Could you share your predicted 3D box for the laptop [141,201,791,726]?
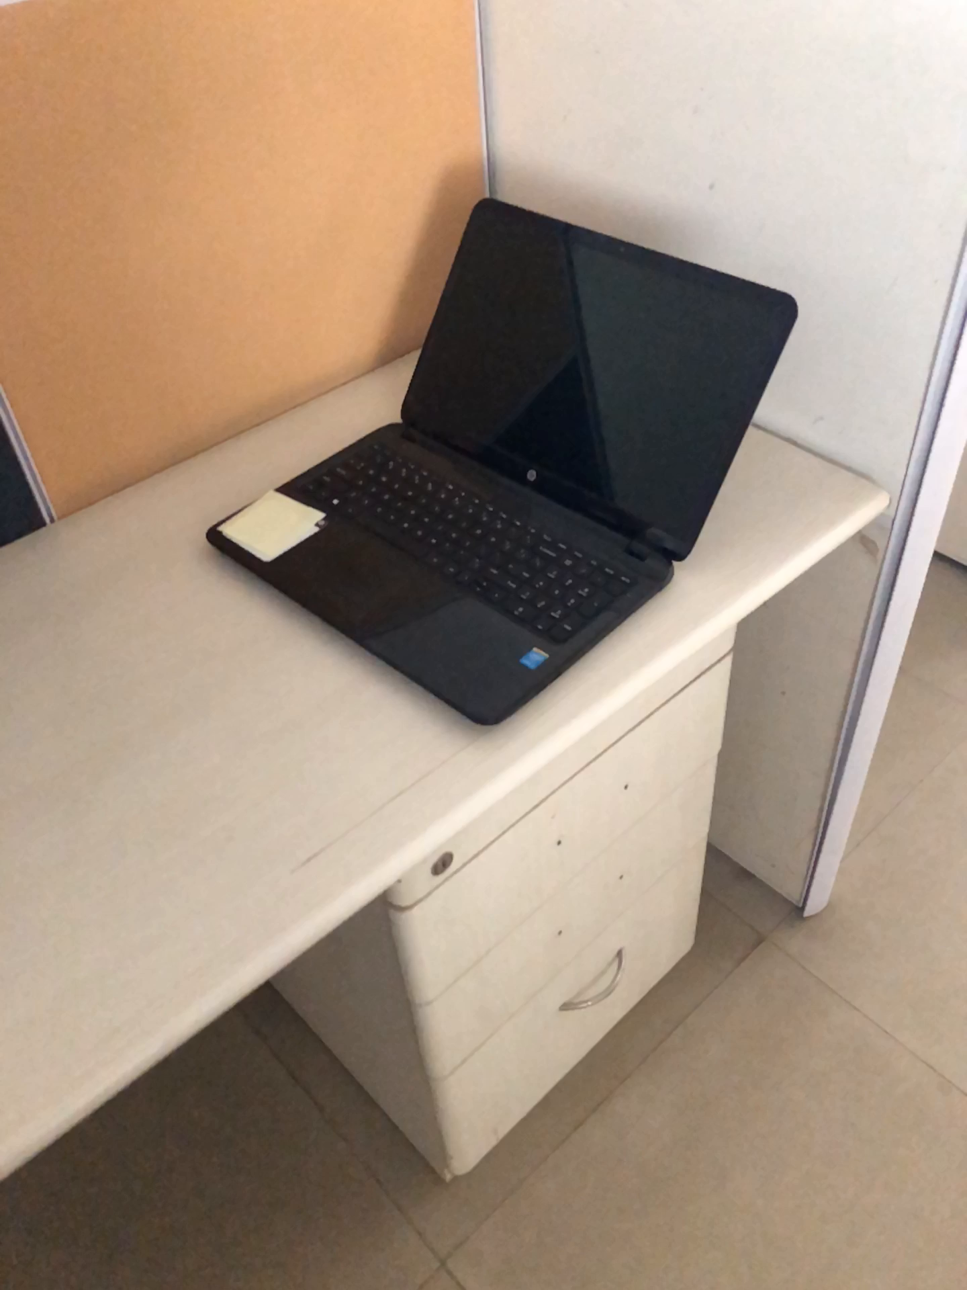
[{"bbox_3d":[-0.007,-0.205,0.996,0.391,0.204,0.418,31,53,32],"label":"laptop"}]
